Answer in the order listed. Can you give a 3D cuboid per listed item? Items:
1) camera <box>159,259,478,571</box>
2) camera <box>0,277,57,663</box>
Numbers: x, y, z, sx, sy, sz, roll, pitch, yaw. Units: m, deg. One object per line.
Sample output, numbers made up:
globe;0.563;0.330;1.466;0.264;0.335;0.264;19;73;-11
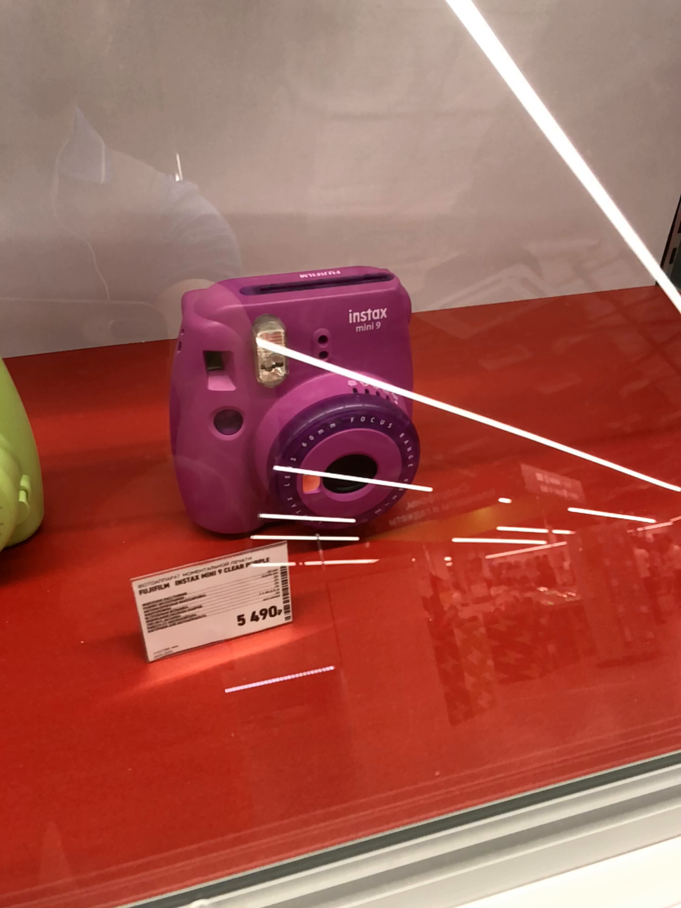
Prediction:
camera;-0.013;-0.020;0.339;0.117;0.103;0.073;-8;36;-14
camera;-0.204;0.003;0.317;0.135;0.118;0.073;-12;37;-18
